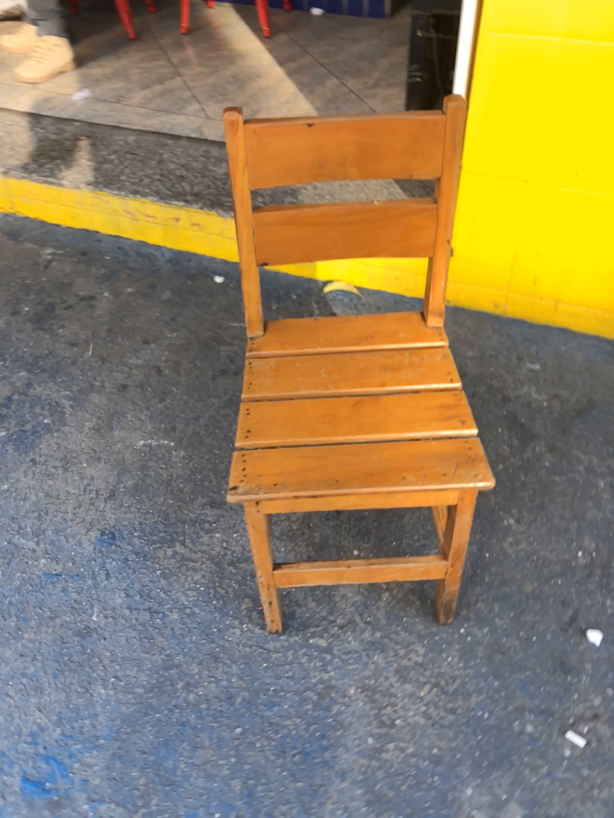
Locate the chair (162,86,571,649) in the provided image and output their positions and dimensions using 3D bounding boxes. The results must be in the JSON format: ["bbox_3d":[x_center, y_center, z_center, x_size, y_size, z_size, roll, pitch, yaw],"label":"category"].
[{"bbox_3d":[0.065,-0.015,1.100,0.400,0.804,0.443,-3,45,0],"label":"chair"}]
